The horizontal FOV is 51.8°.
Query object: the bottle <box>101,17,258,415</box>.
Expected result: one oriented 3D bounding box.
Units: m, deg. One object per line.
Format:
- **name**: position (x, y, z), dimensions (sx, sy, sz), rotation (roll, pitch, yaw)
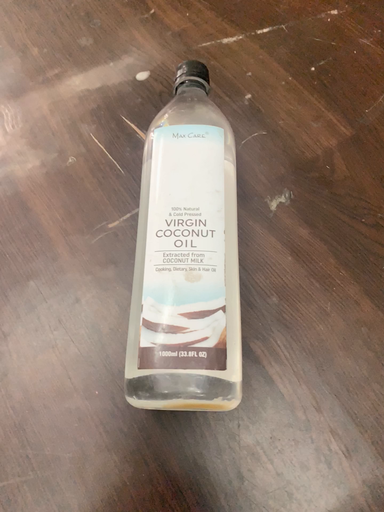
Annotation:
- **bottle**: position (-0.003, -0.041, 0.289), dimensions (0.080, 0.070, 0.290), rotation (1, 68, 1)
